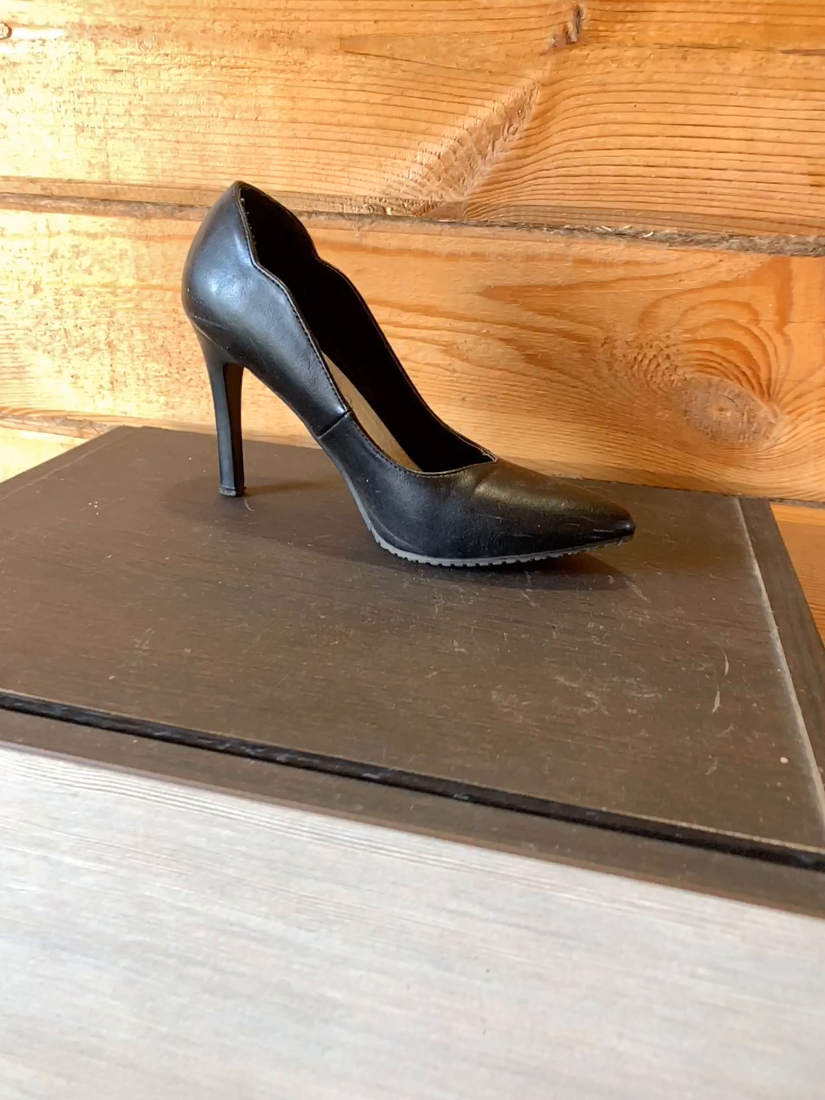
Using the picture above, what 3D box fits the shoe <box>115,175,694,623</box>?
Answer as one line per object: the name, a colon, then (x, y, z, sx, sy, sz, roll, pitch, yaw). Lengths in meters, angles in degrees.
shoe: (-0.007, -0.081, 0.382, 0.220, 0.149, 0.101, 13, 24, 22)
